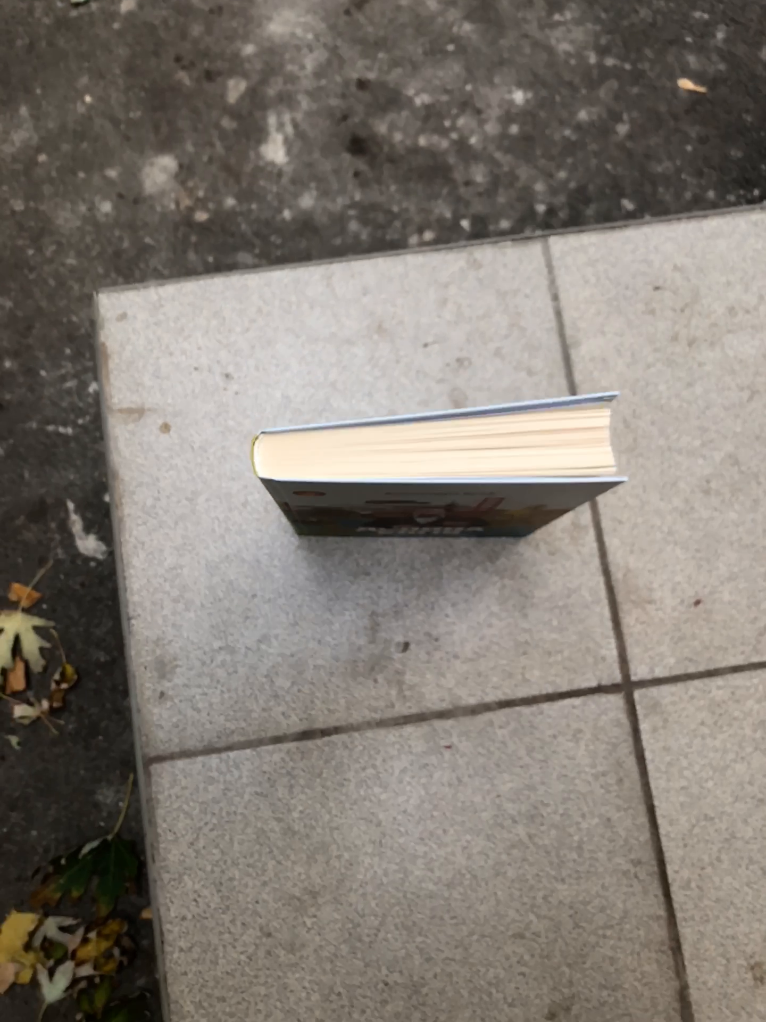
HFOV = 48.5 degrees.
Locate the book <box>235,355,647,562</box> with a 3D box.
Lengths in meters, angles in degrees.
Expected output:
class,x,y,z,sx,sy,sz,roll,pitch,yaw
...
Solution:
class,x,y,z,sx,sy,sz,roll,pitch,yaw
book,0.021,-0.016,0.441,0.160,0.209,0.044,-6,80,-2
